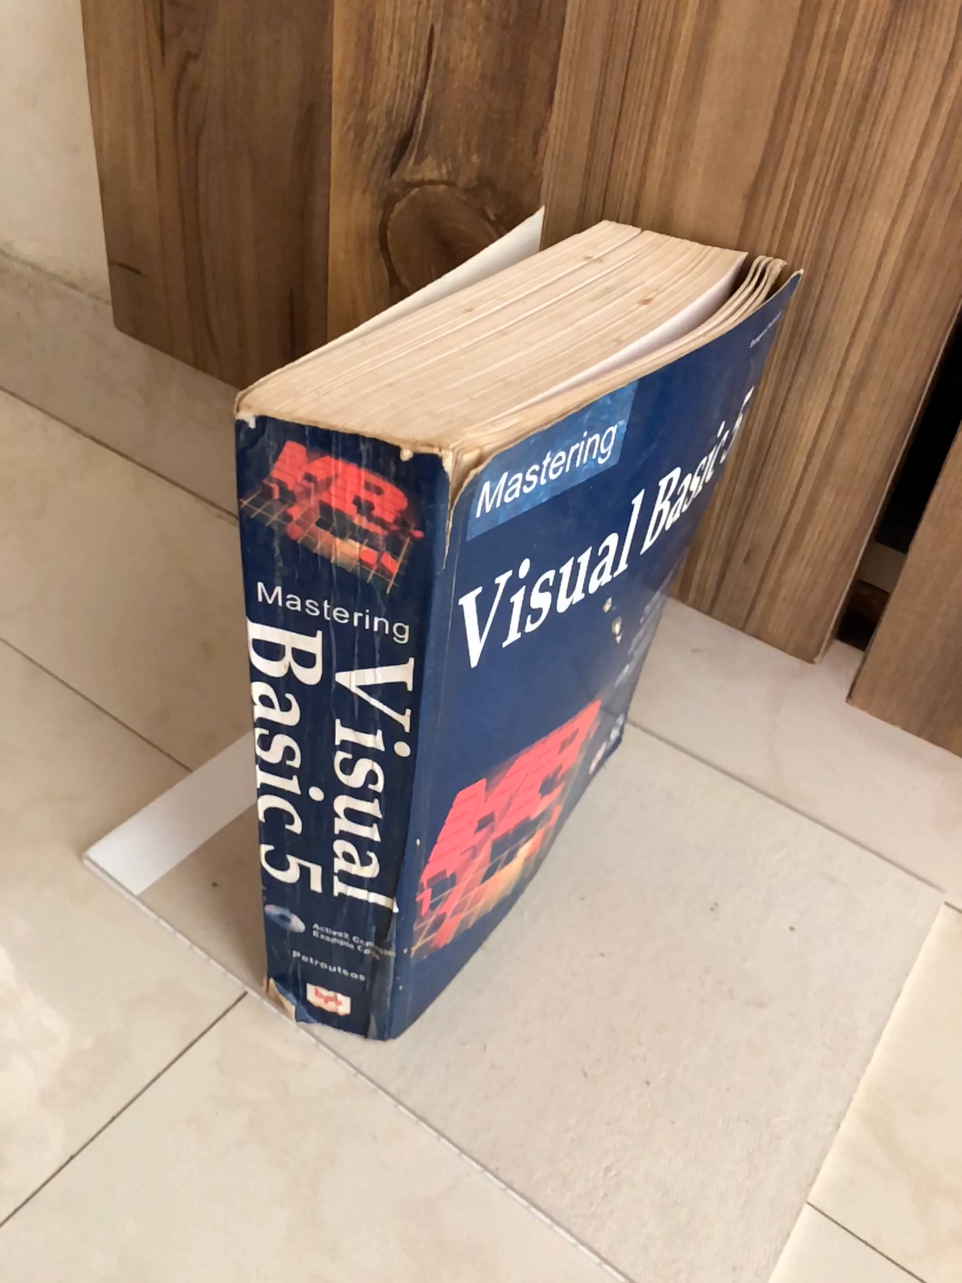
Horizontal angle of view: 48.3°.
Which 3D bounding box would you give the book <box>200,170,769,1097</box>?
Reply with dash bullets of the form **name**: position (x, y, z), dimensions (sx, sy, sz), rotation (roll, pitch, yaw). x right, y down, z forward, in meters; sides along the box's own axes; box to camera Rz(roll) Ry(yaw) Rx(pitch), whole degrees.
- **book**: position (0.009, -0.007, 0.374), dimensions (0.060, 0.249, 0.211), rotation (23, 41, 22)
